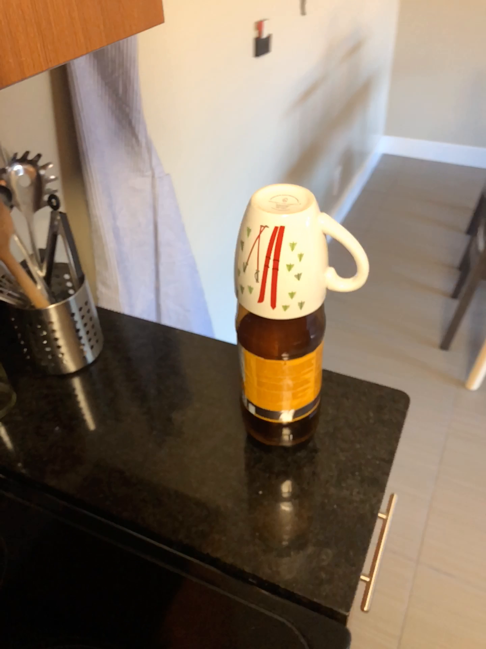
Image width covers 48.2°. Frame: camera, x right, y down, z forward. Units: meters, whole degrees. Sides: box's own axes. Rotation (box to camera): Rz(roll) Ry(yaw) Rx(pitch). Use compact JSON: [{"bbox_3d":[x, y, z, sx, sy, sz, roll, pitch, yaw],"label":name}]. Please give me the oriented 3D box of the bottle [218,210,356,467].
[{"bbox_3d":[0.049,0.024,0.643,0.100,0.279,0.100,-2,39,1],"label":"bottle"}]
